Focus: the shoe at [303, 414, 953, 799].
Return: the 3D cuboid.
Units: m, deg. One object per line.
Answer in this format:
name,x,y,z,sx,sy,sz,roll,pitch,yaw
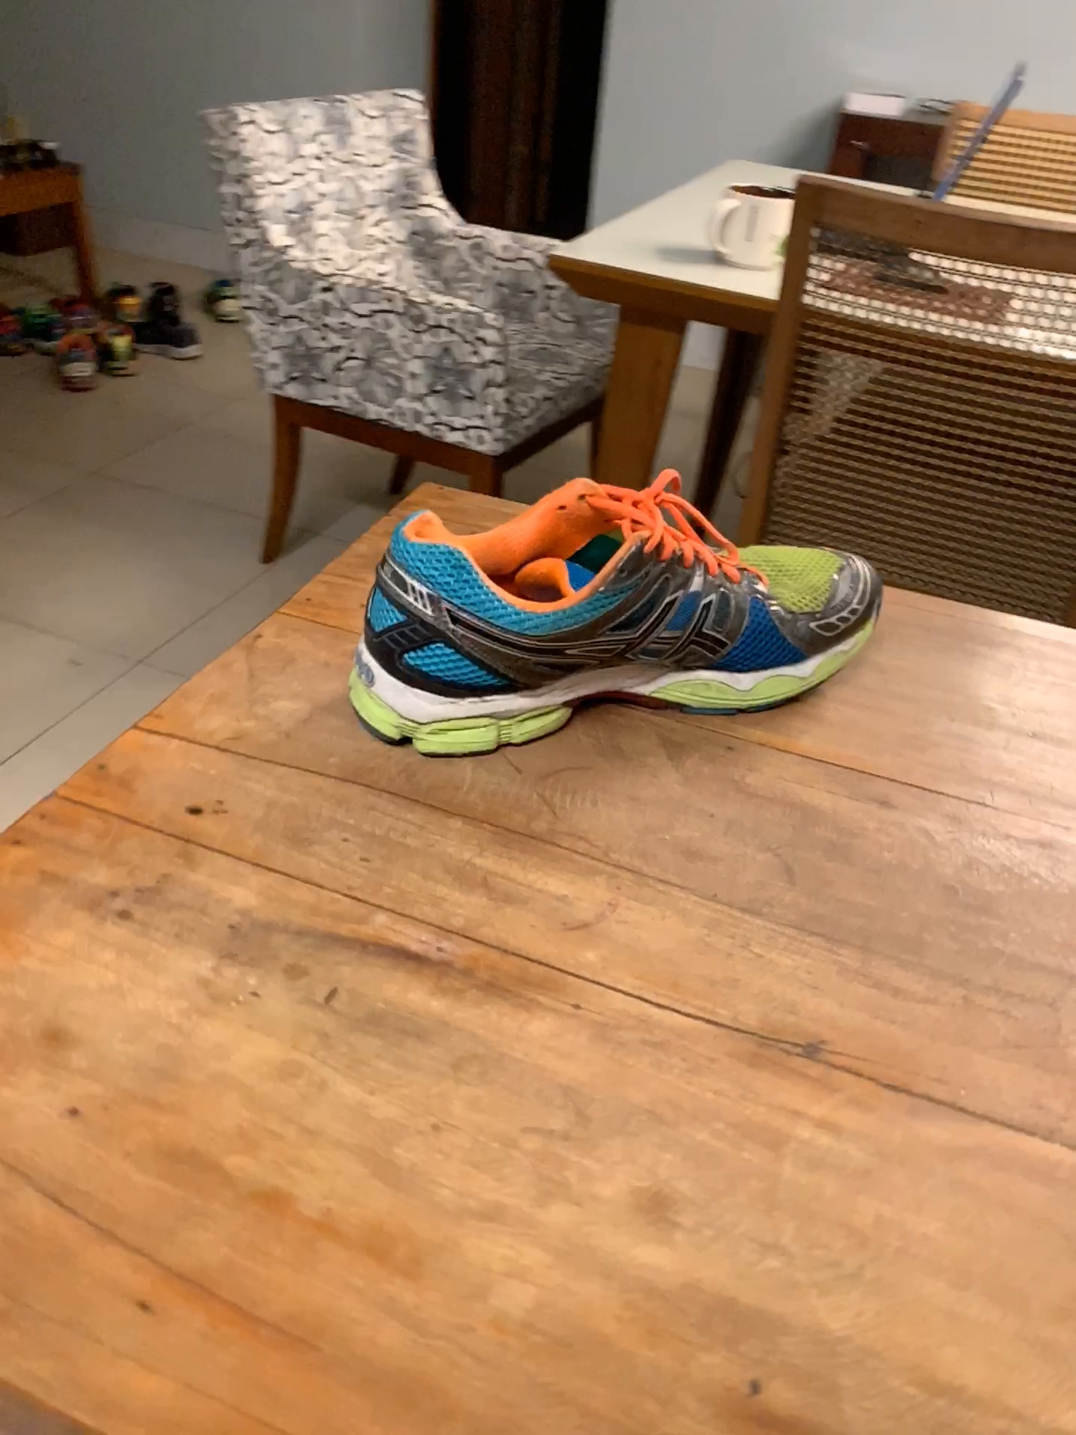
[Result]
shoe,0.044,-0.071,0.577,0.301,0.109,0.126,-12,39,-23
